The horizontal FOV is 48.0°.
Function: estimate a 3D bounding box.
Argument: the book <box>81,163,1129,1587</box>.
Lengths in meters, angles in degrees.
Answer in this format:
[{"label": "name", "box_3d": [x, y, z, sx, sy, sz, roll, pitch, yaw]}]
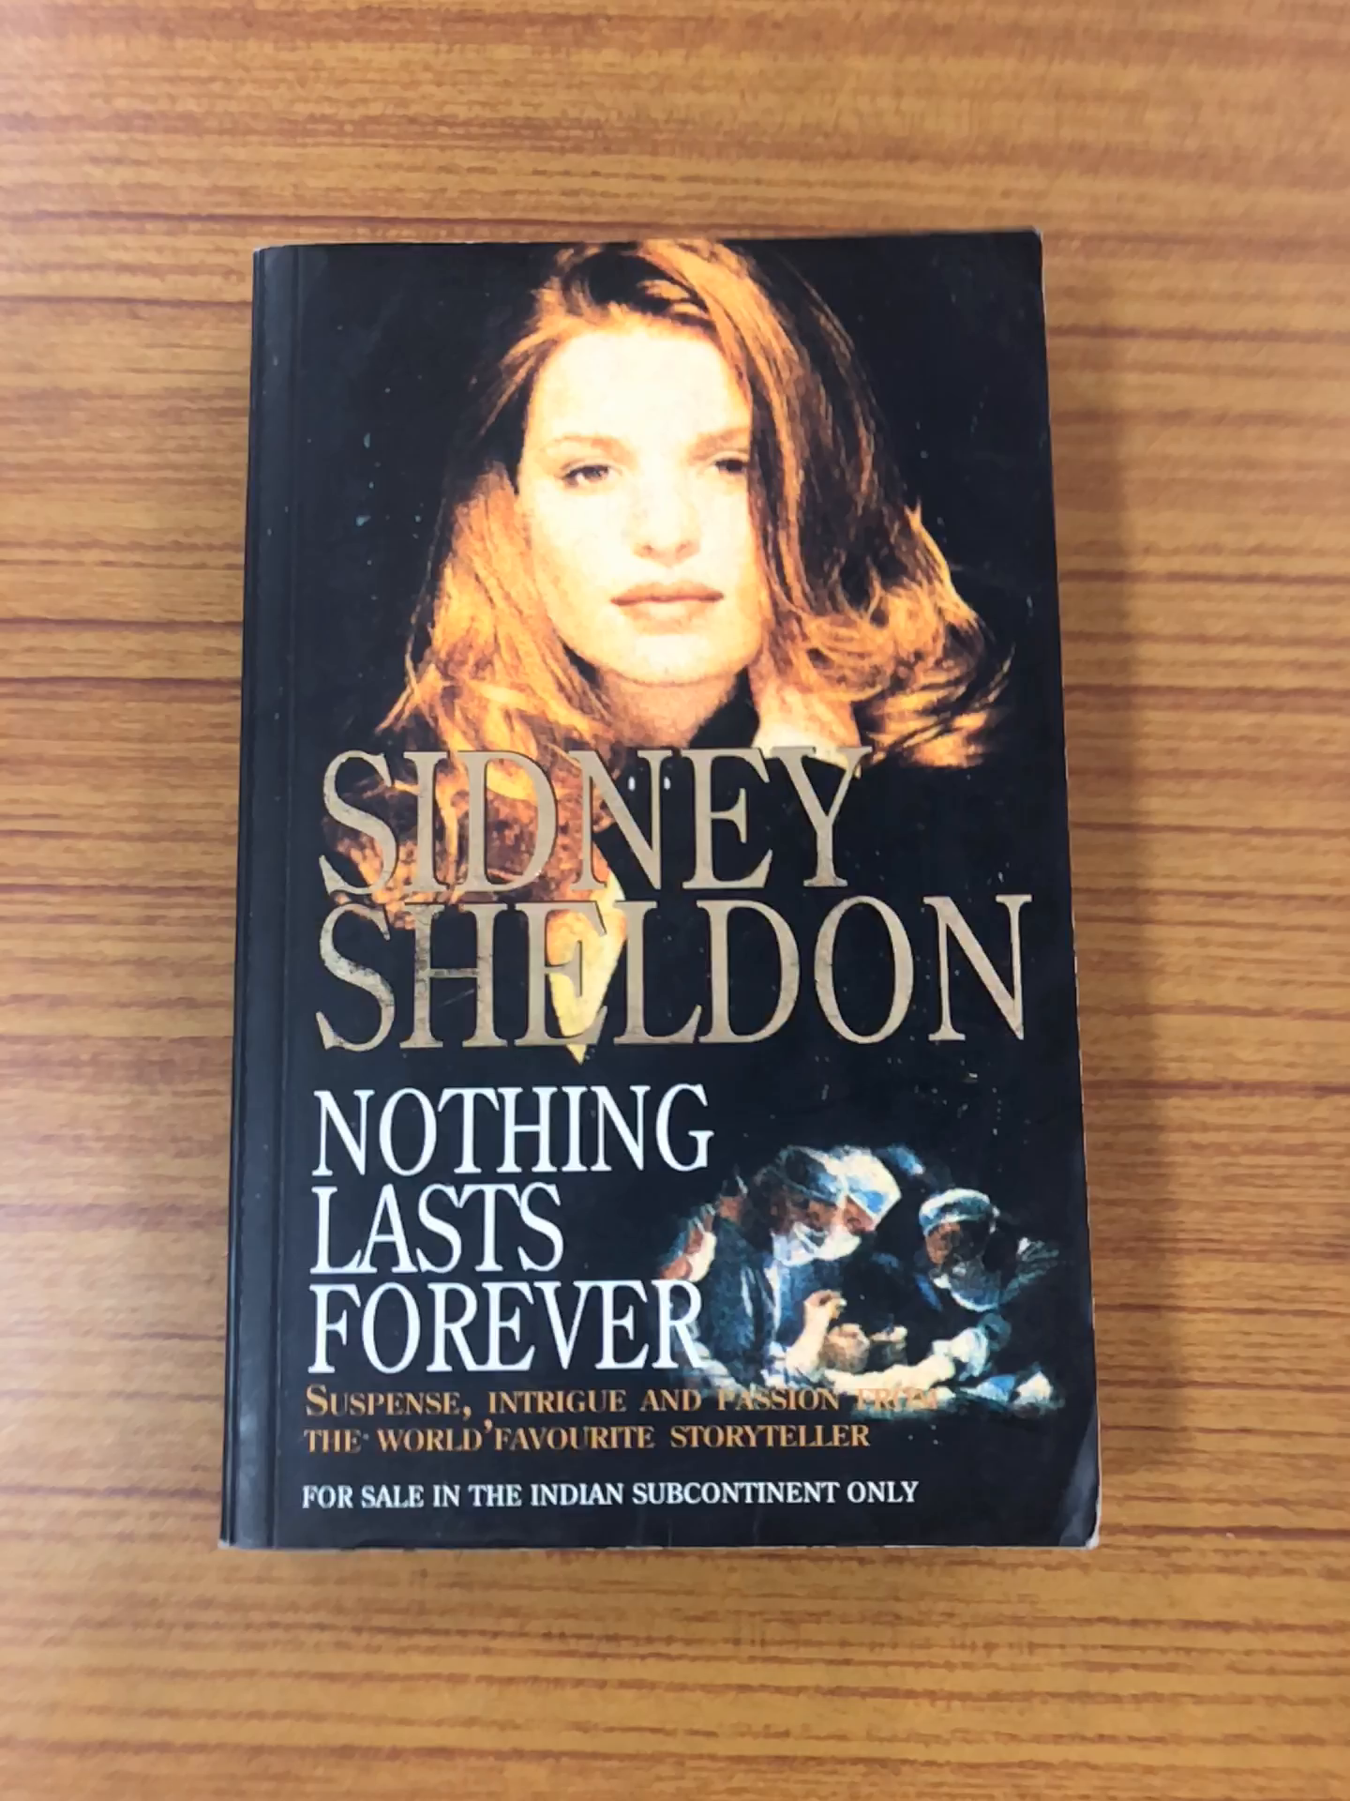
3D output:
[{"label": "book", "box_3d": [-0.010, -0.005, 0.197, 0.120, 0.030, 0.170, -1, 84, 1]}]
